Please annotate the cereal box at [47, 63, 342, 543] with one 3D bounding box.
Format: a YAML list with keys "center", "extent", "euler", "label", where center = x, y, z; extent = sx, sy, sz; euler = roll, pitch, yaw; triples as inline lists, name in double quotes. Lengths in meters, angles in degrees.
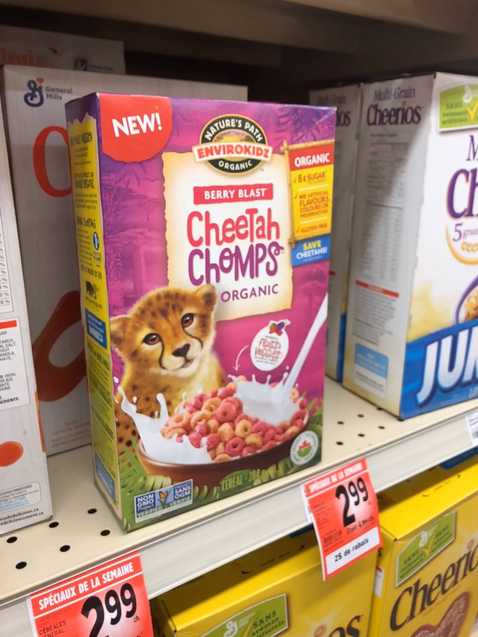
- center: [-0.023, -0.013, 0.348]
  extent: [0.160, 0.259, 0.070]
  euler: [-9, 17, -29]
  label: "cereal box"
